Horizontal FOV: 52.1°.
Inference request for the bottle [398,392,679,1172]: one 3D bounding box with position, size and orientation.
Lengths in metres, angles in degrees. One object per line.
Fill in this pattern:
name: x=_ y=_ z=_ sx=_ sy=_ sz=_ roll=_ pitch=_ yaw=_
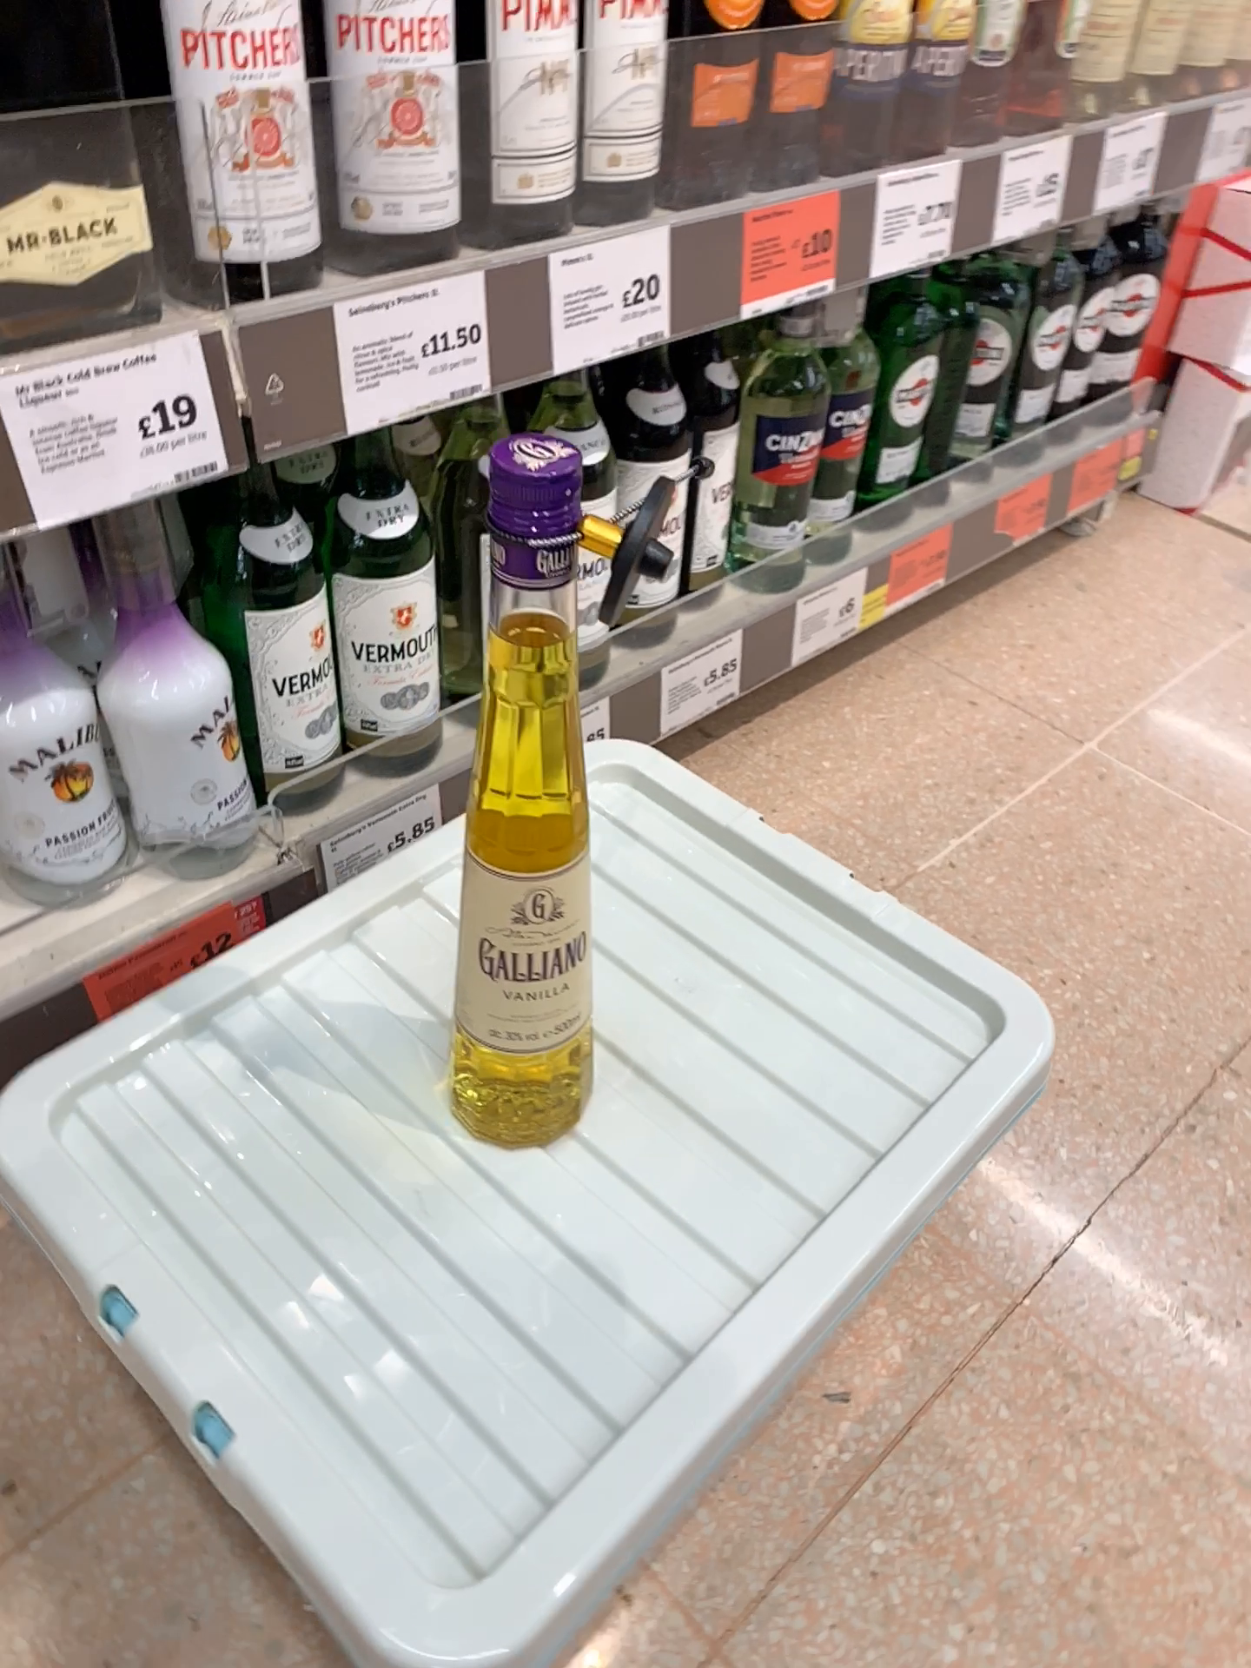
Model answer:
bottle: x=-0.042 y=0.002 z=0.536 sx=0.073 sy=0.347 sz=0.071 roll=3 pitch=41 yaw=-3
